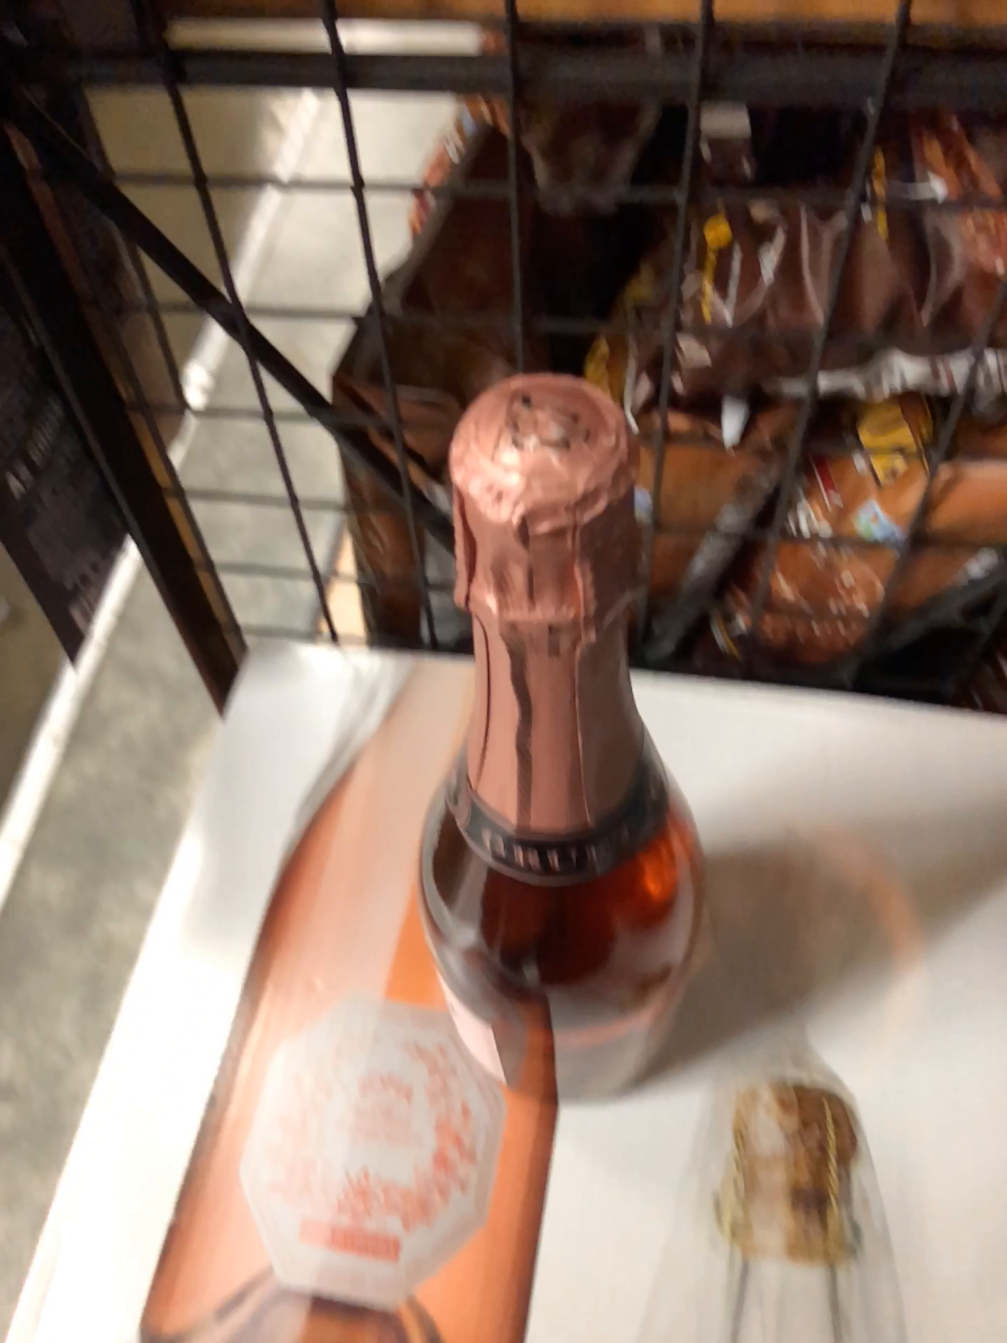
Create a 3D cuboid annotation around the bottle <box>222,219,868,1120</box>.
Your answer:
[{"bbox_3d":[0.013,0.042,0.310,0.090,0.312,0.090,-1,56,2],"label":"bottle"}]
